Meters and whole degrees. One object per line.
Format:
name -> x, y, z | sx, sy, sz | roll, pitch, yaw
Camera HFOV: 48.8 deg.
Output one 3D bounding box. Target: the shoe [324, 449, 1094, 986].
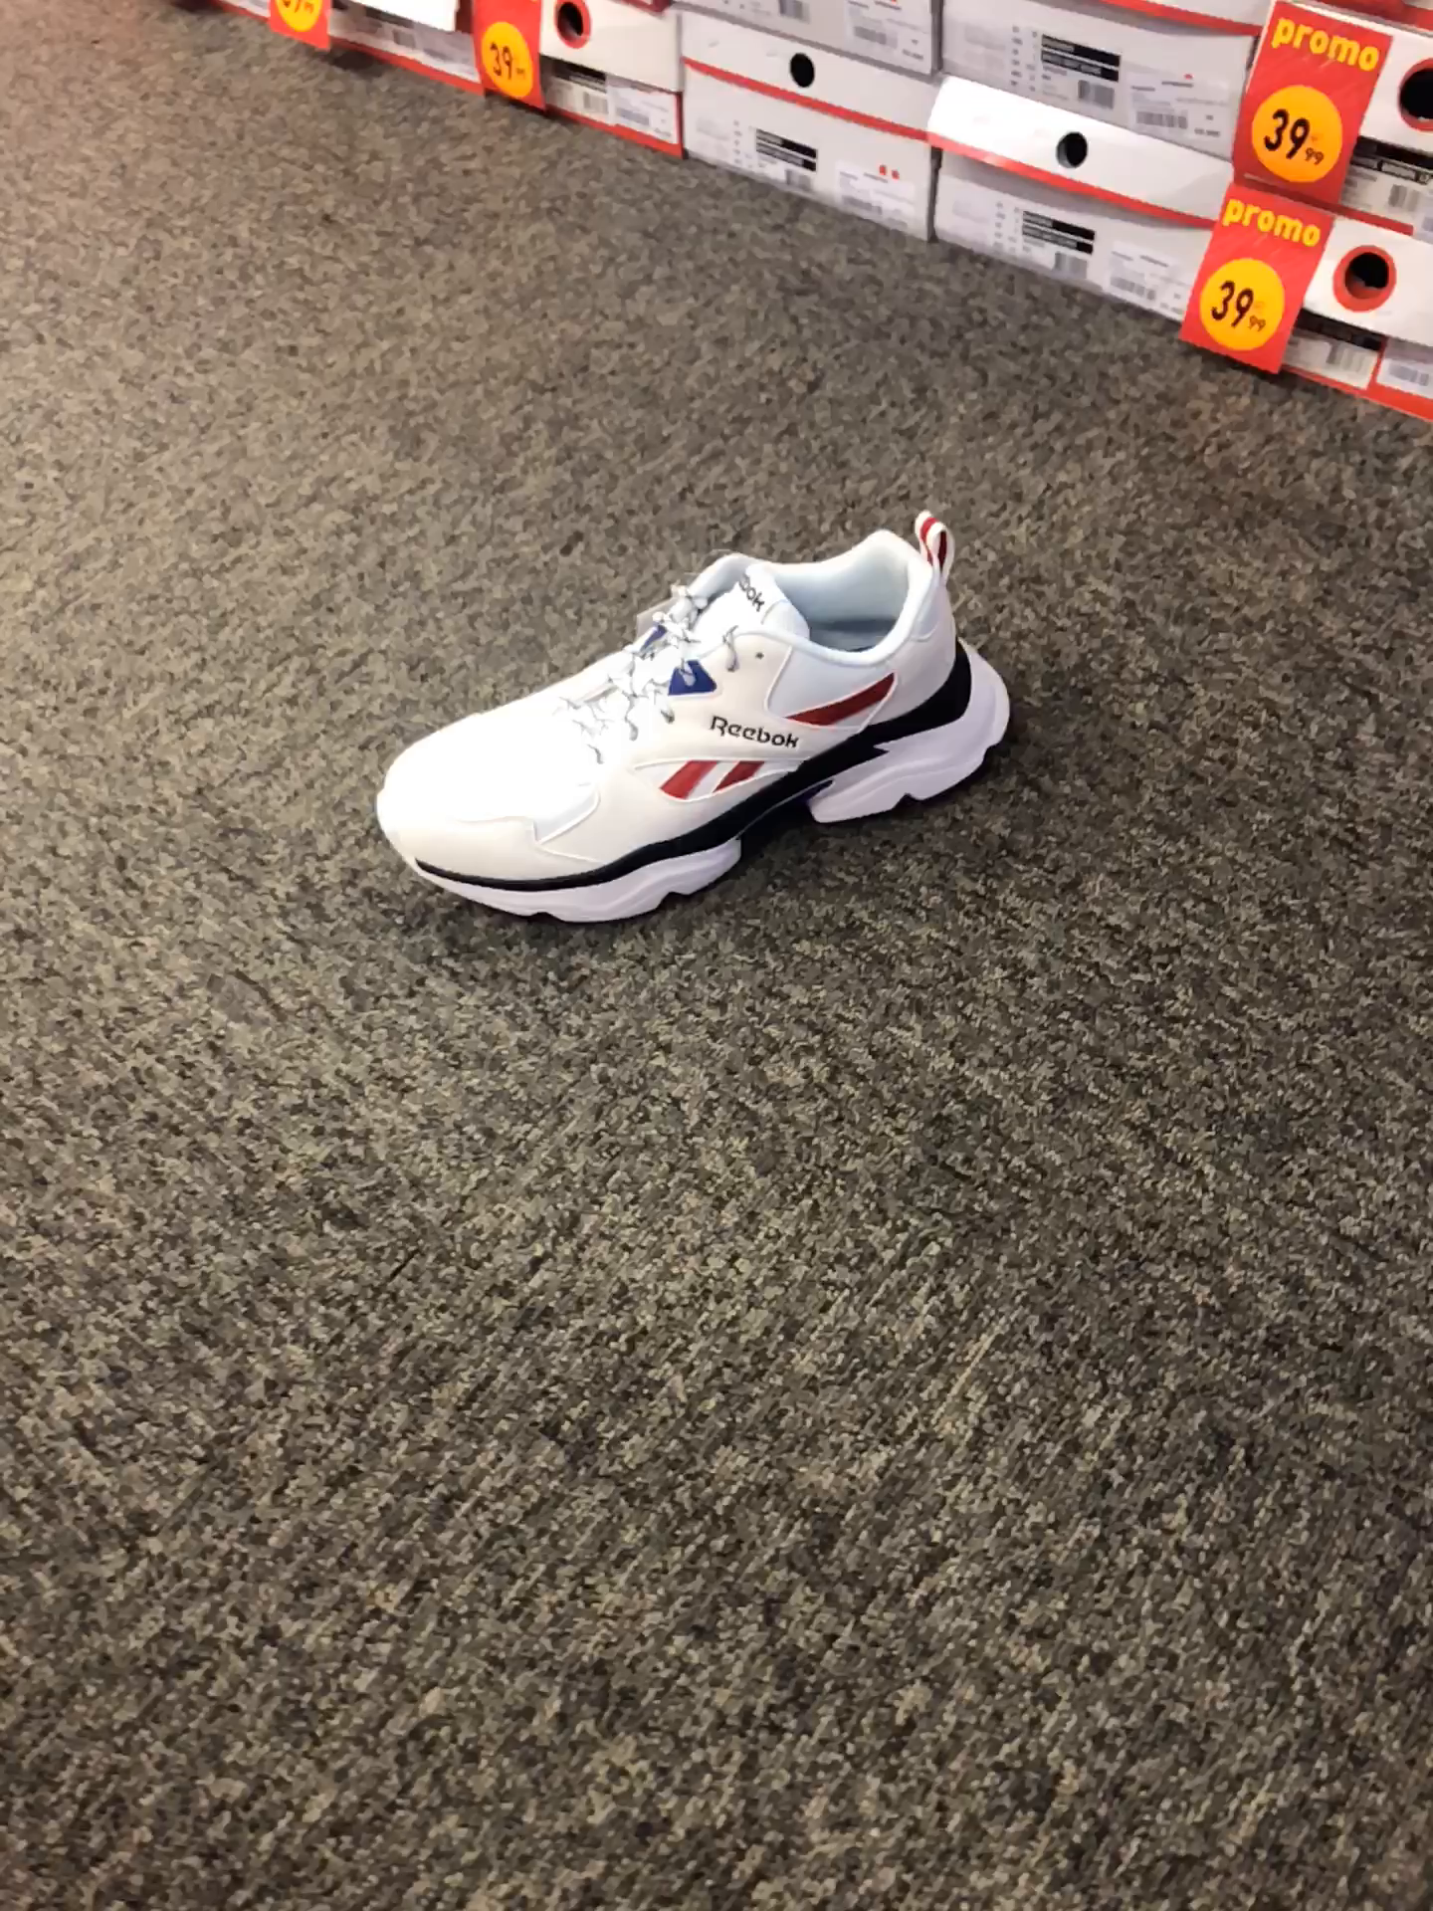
shoe -> -0.002, -0.108, 0.700 | 0.300, 0.109, 0.113 | -19, 54, -11
